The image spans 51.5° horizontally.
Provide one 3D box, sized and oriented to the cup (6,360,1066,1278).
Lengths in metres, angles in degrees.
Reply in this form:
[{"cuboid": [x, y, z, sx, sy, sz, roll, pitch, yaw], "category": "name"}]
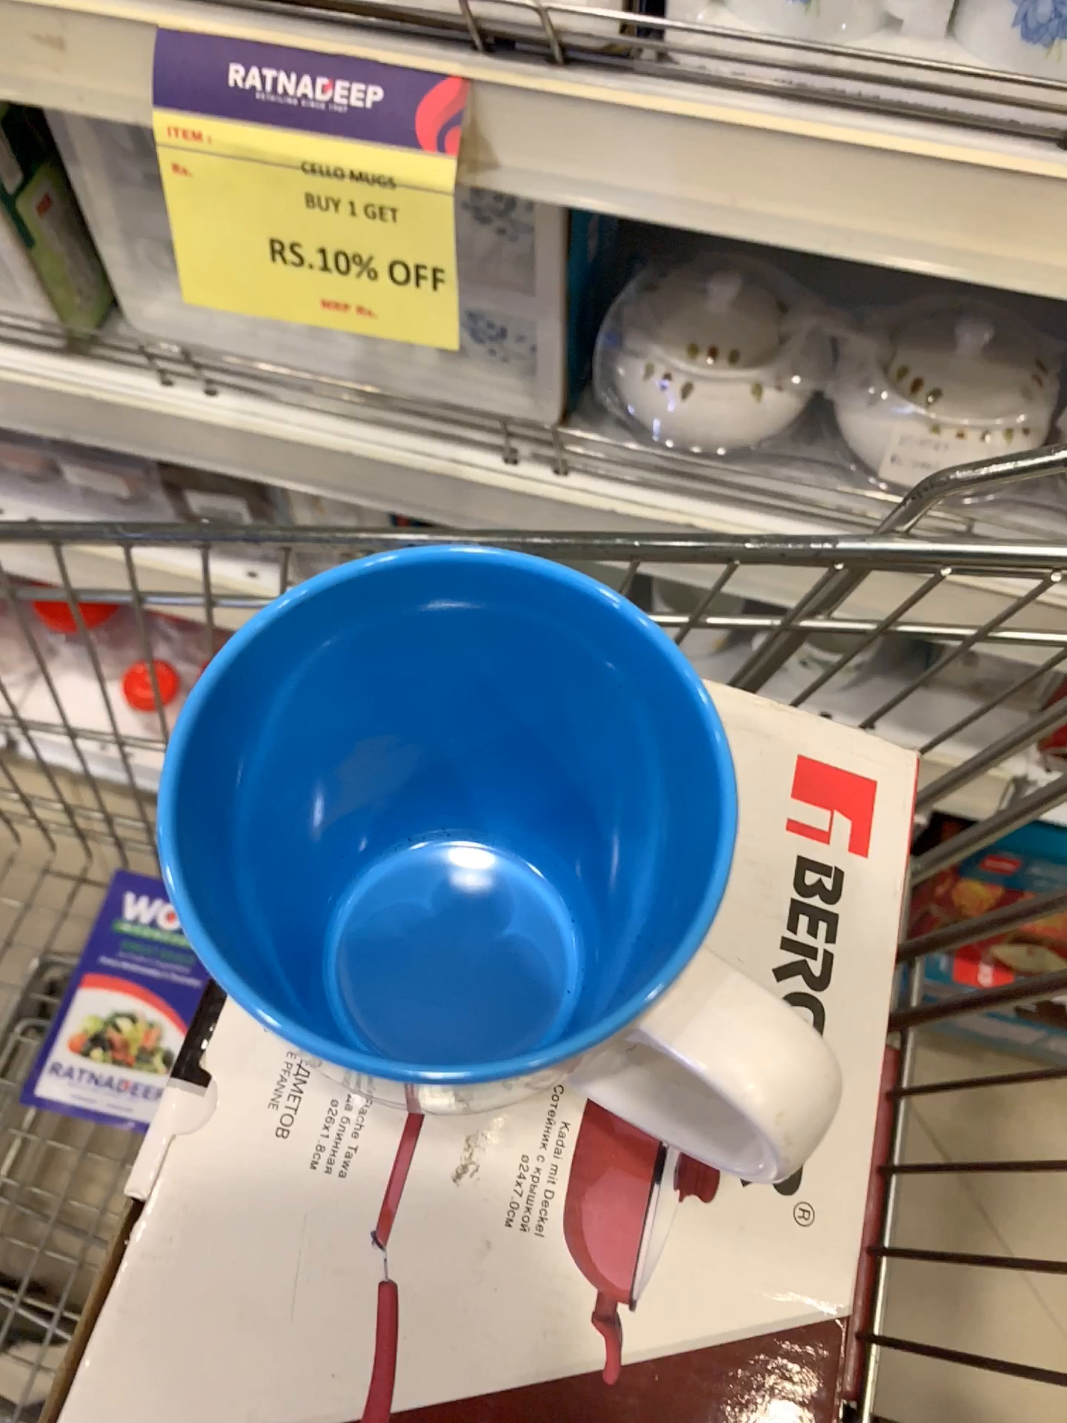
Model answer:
[{"cuboid": [0.001, 0.025, 0.193, 0.120, 0.100, 0.080, 29, 66, 12], "category": "cup"}]
